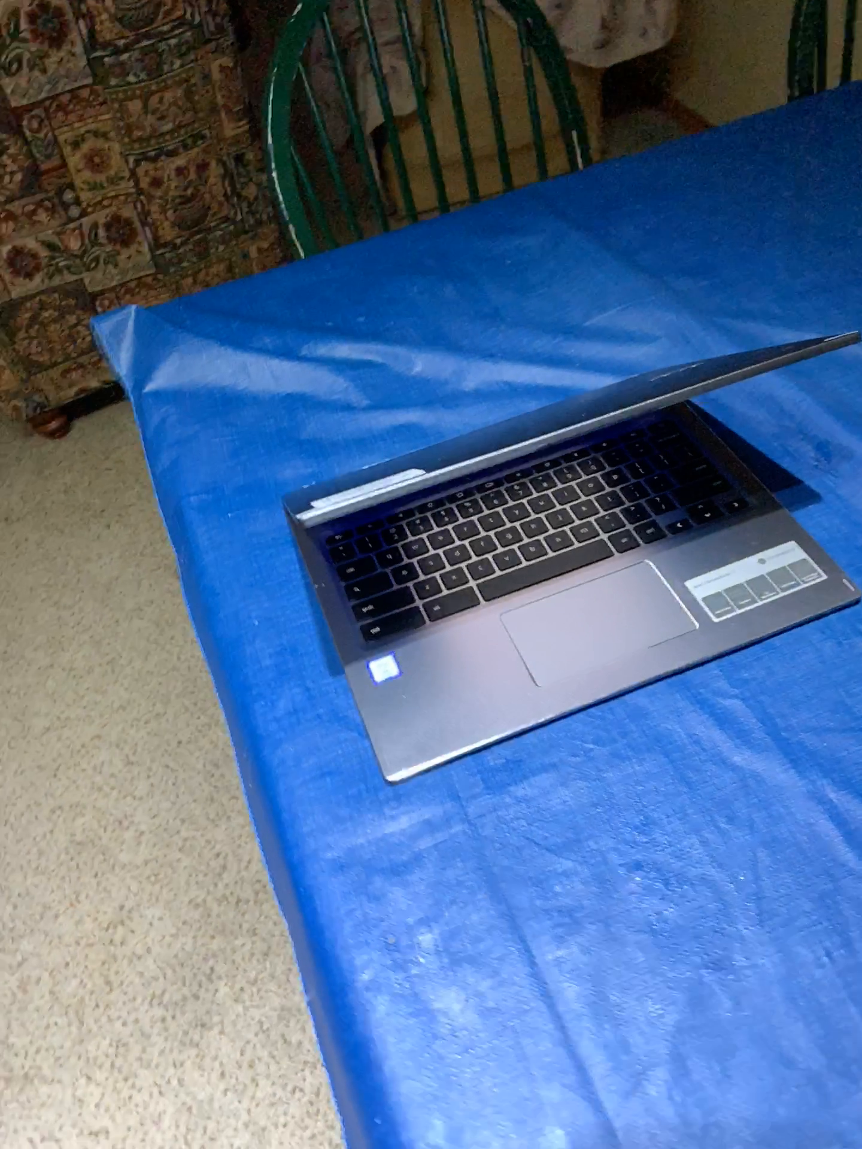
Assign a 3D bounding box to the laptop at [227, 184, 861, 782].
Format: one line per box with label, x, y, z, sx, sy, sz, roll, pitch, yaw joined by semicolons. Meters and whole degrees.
laptop;0.067;-0.071;0.532;0.303;0.151;0.251;-19;49;-8
